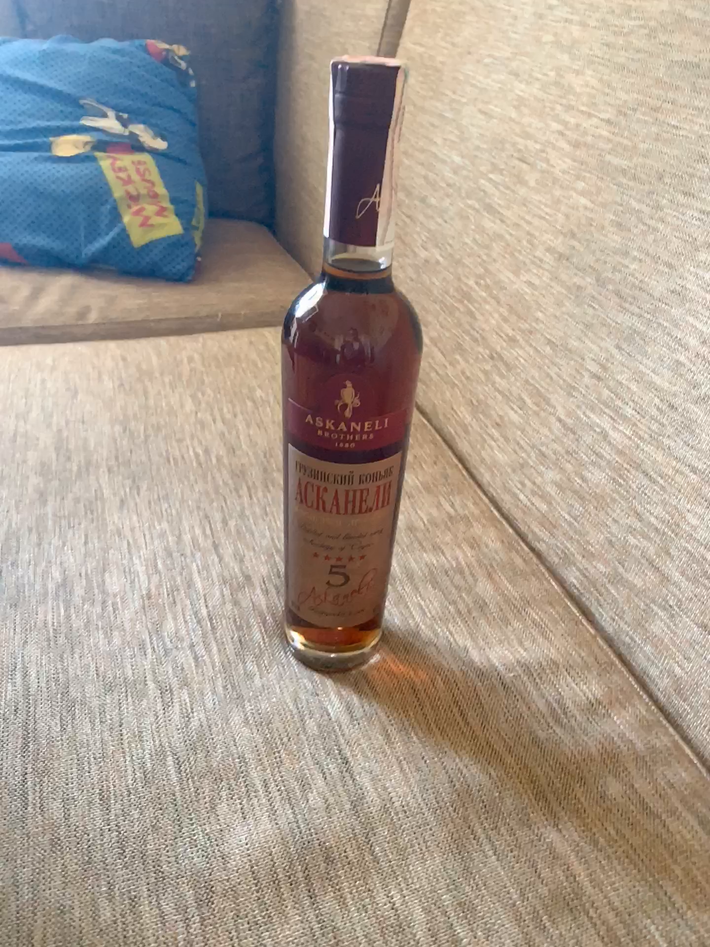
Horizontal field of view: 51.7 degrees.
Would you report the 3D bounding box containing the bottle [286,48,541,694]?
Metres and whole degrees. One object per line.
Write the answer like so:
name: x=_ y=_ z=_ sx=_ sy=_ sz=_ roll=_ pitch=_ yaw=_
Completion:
bottle: x=0.013 y=-0.025 z=0.330 sx=0.070 sy=0.279 sz=0.070 roll=4 pitch=34 yaw=-3
